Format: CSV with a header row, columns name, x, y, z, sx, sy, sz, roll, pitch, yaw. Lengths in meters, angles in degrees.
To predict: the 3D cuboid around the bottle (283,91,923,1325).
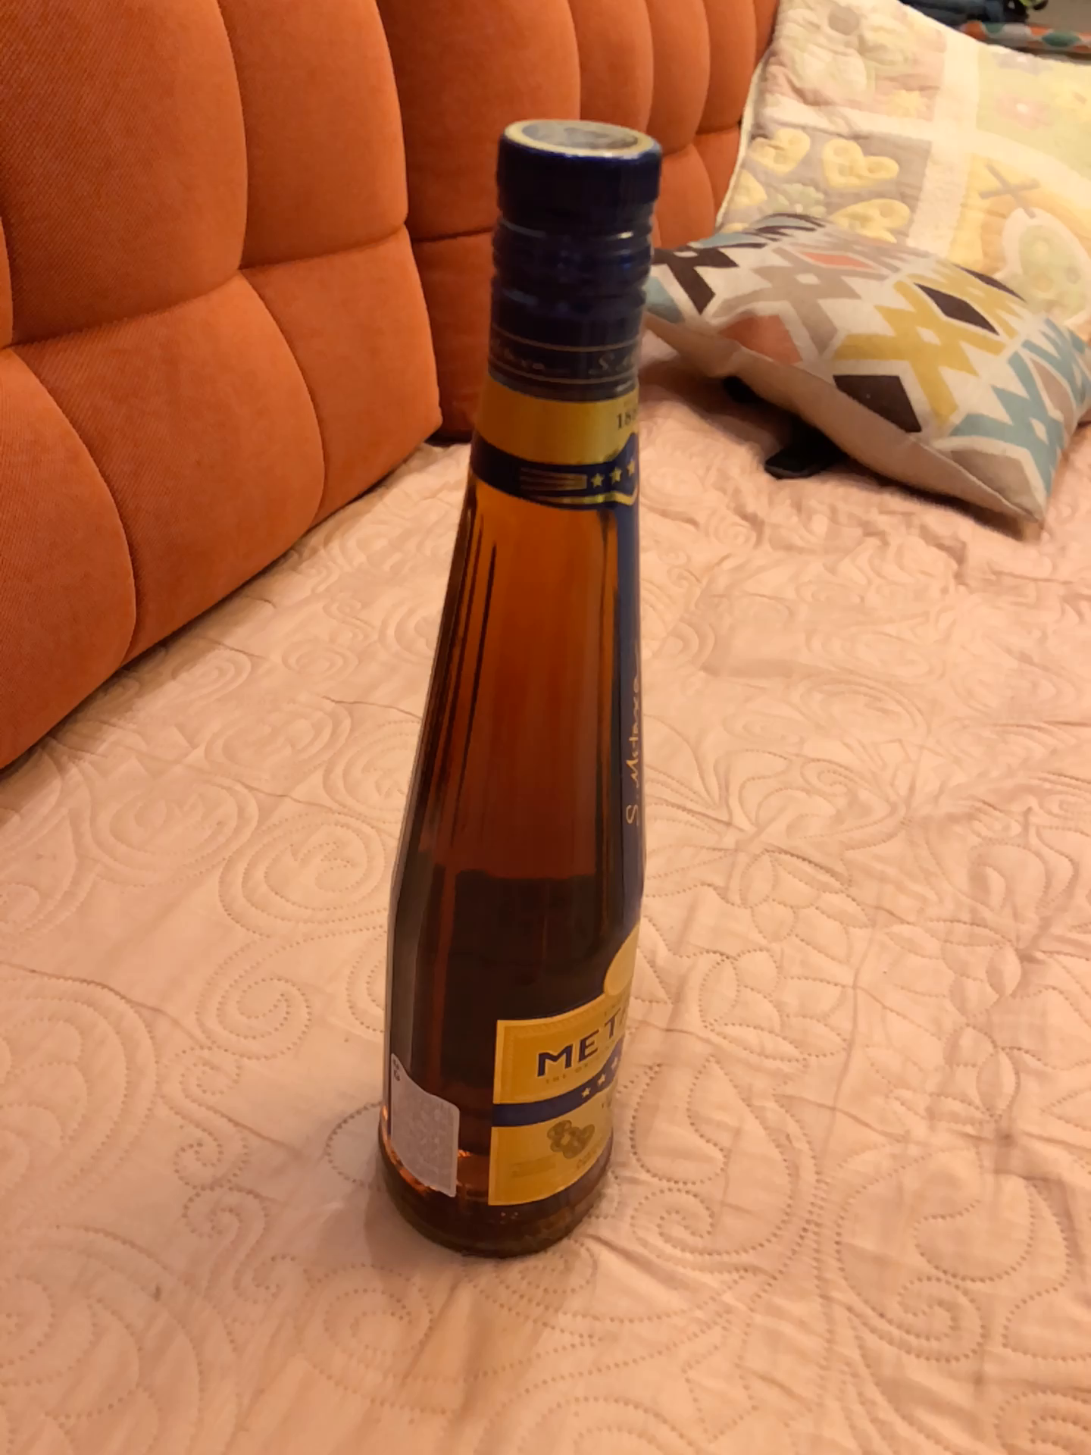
name,x,y,z,sx,sy,sz,roll,pitch,yaw
bottle,0.002,0.008,0.324,0.090,0.308,0.101,24,37,26
